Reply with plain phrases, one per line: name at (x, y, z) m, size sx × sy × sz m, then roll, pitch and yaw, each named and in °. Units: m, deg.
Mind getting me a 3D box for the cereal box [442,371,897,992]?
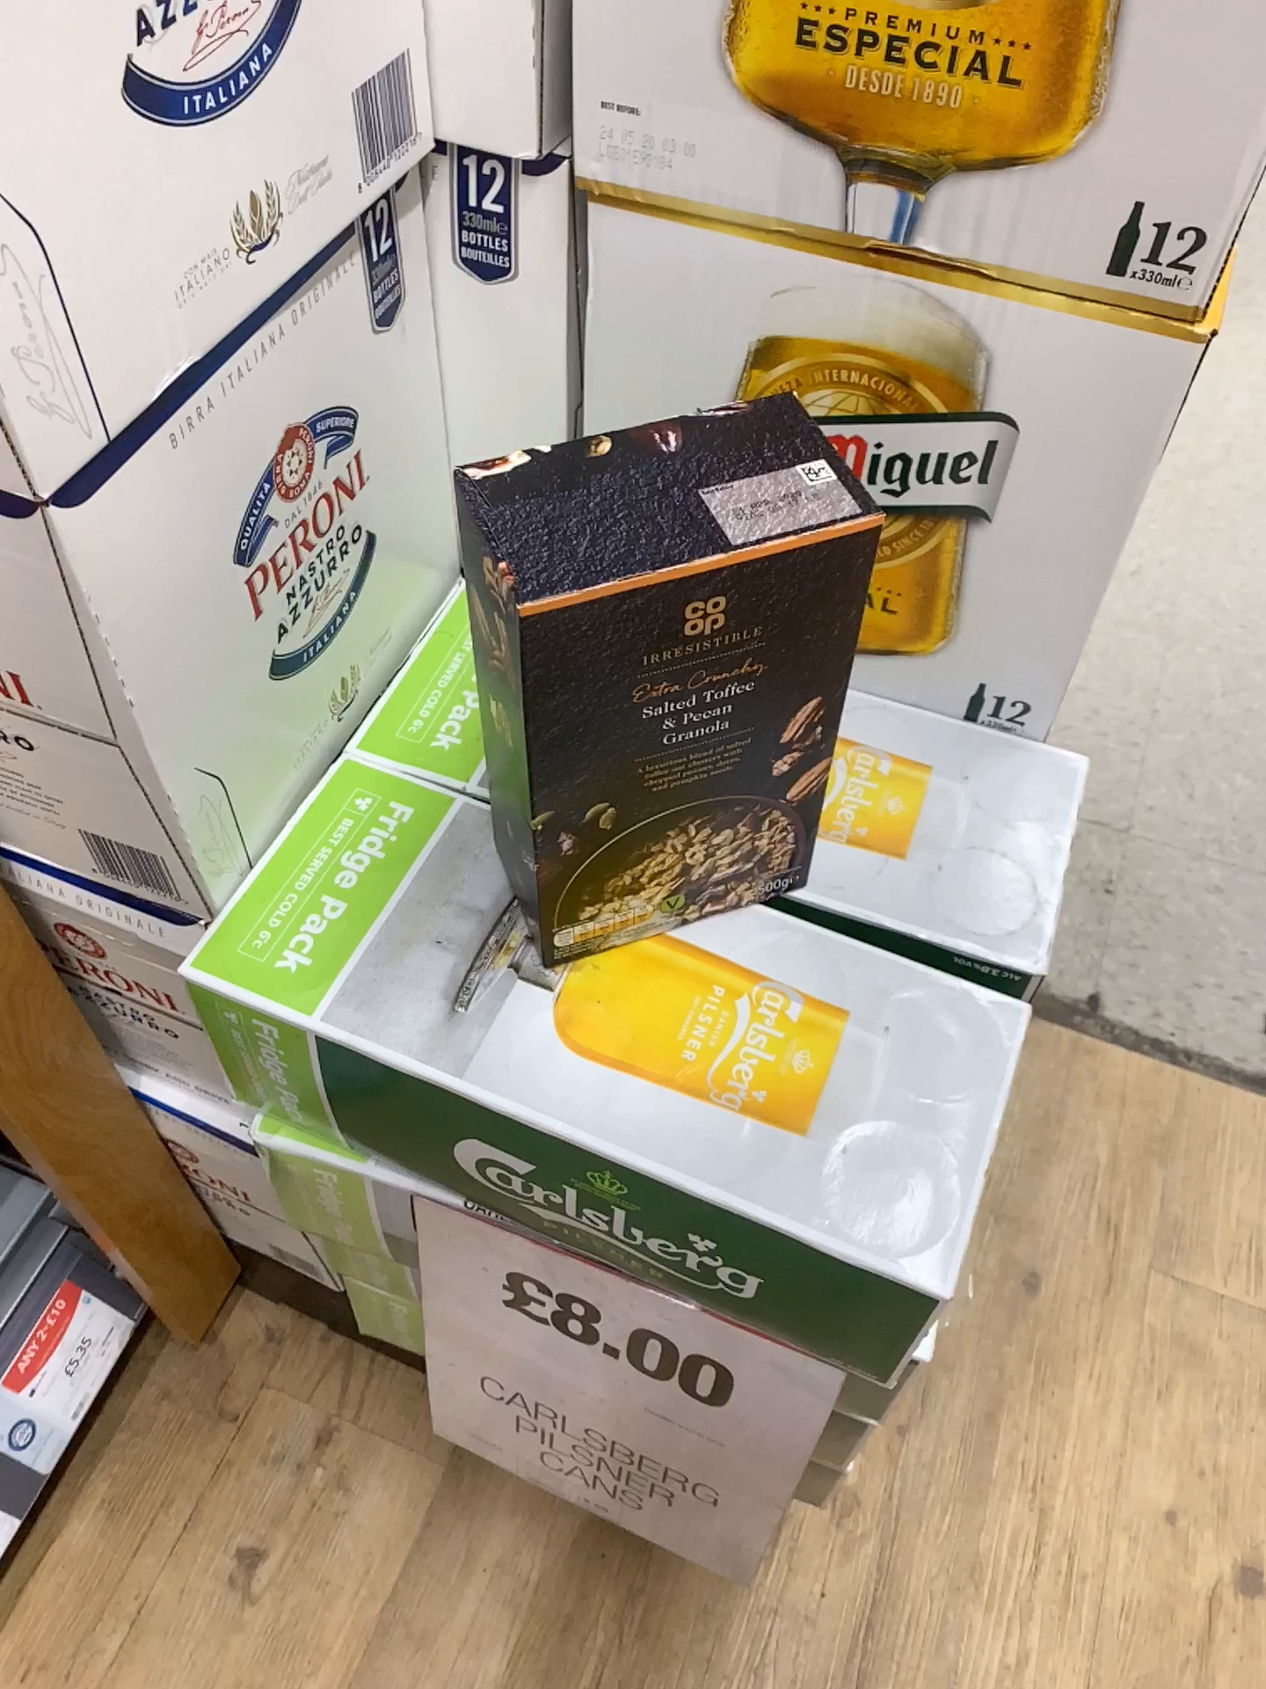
cereal box at (0.008, -0.050, 0.486) m, size 0.120 × 0.208 × 0.081 m, roll -17°, pitch 55°, yaw -14°
